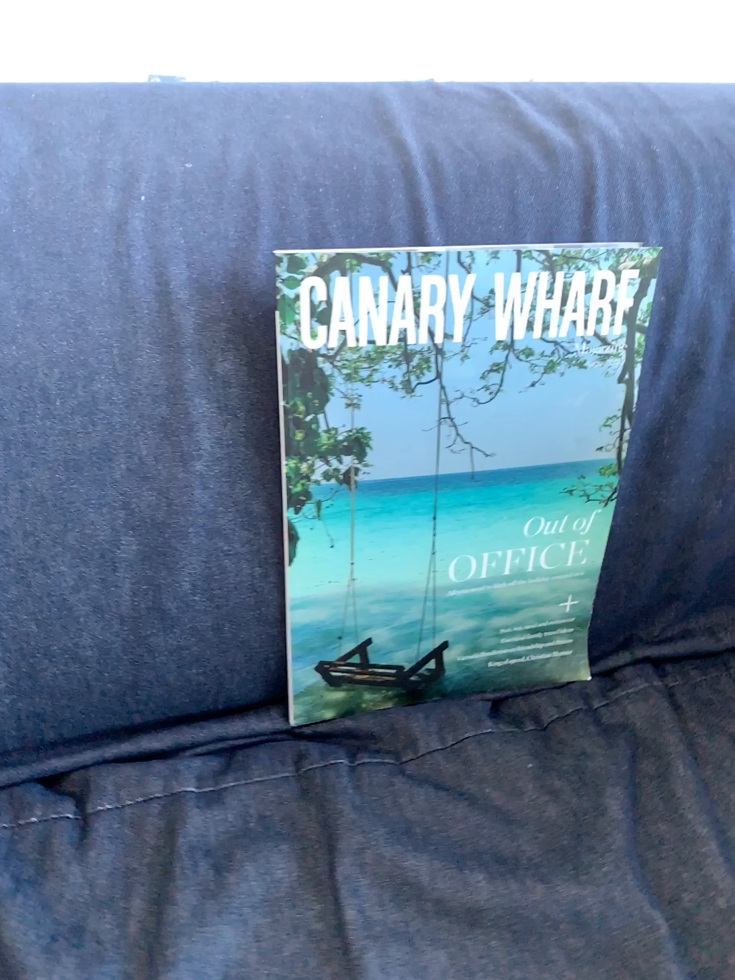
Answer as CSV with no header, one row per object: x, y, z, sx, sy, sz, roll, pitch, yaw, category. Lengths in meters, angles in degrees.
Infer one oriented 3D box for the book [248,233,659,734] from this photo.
0.046,0.002,0.429,0.205,0.273,0.030,-5,23,-12,book
